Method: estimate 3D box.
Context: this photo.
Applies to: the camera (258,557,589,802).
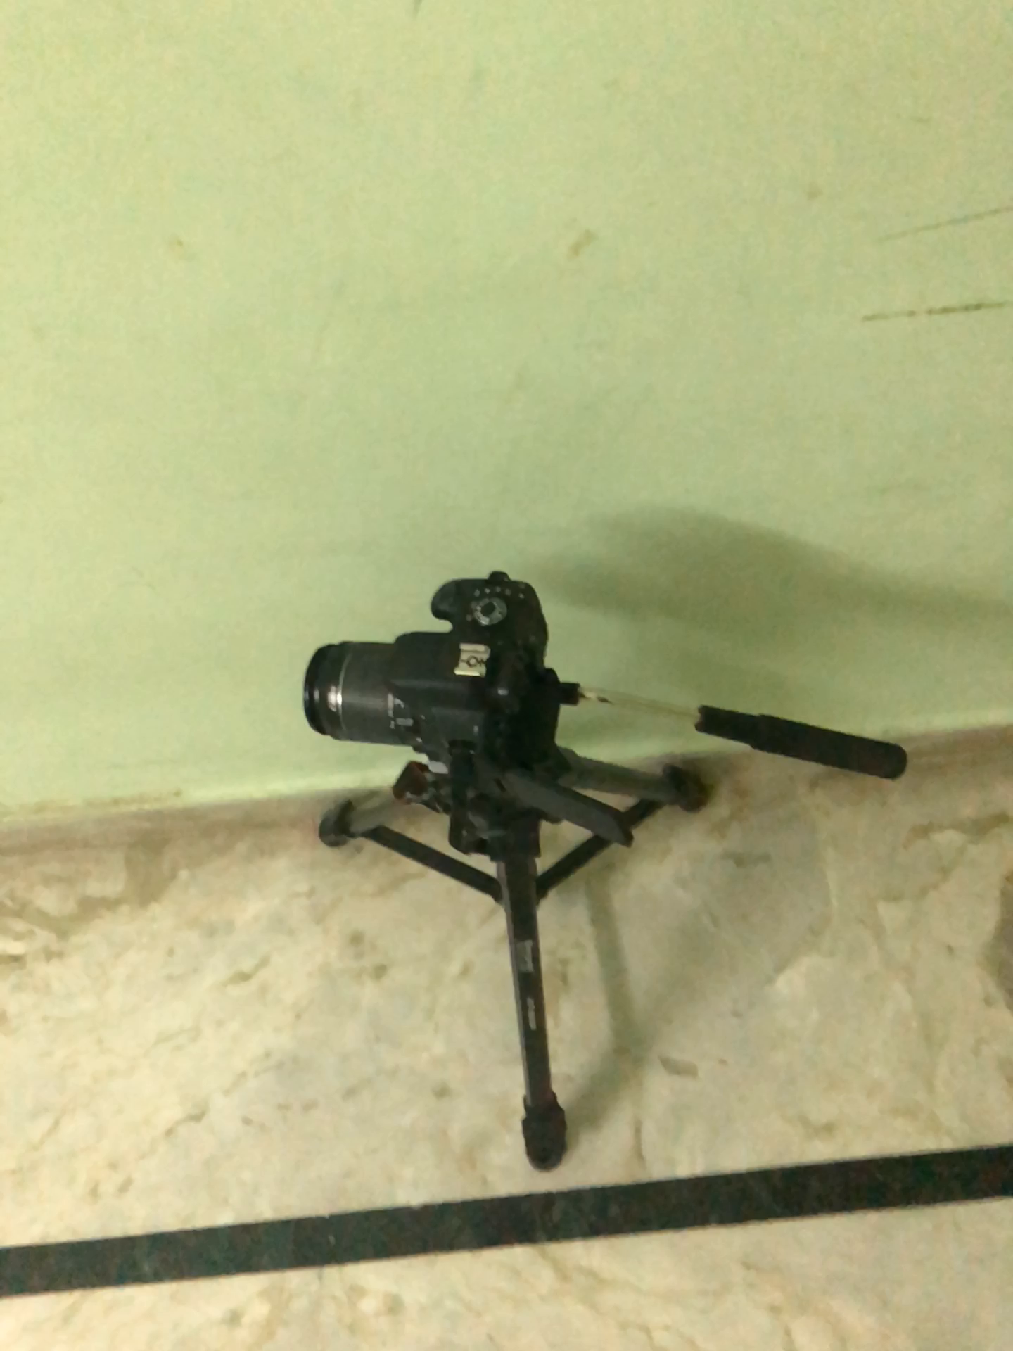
[{"bbox_3d":[-0.047,0.003,0.741,0.190,0.100,0.130,1,65,9],"label":"camera"}]
